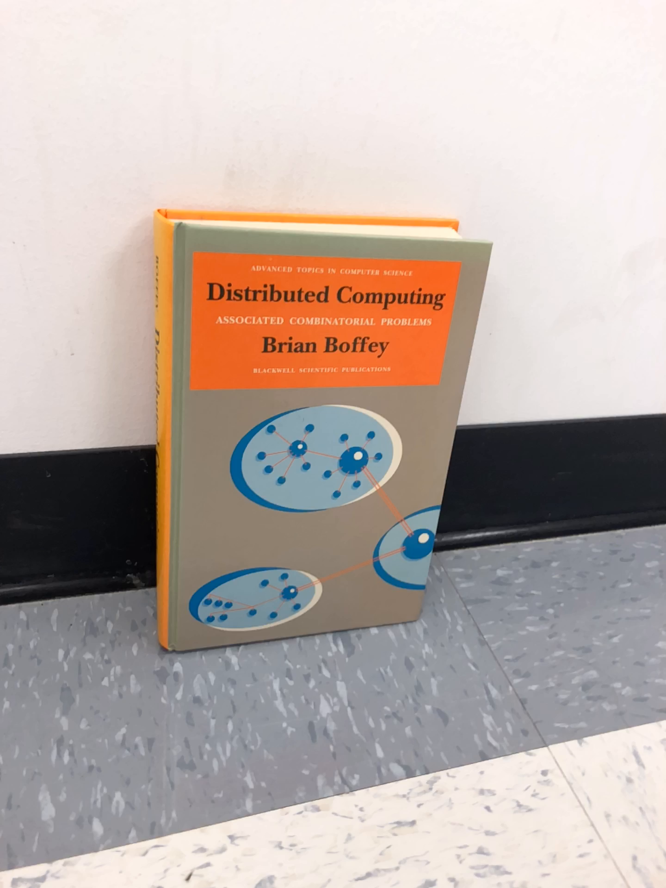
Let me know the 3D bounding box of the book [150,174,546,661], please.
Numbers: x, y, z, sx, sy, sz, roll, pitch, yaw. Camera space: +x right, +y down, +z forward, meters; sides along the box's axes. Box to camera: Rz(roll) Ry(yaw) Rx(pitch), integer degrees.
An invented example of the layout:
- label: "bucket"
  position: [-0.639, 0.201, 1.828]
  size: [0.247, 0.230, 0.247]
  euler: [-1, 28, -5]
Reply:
- label: "book"
  position: [-0.004, -0.006, 0.383]
  size: [0.170, 0.239, 0.050]
  euler: [-3, 29, -17]
